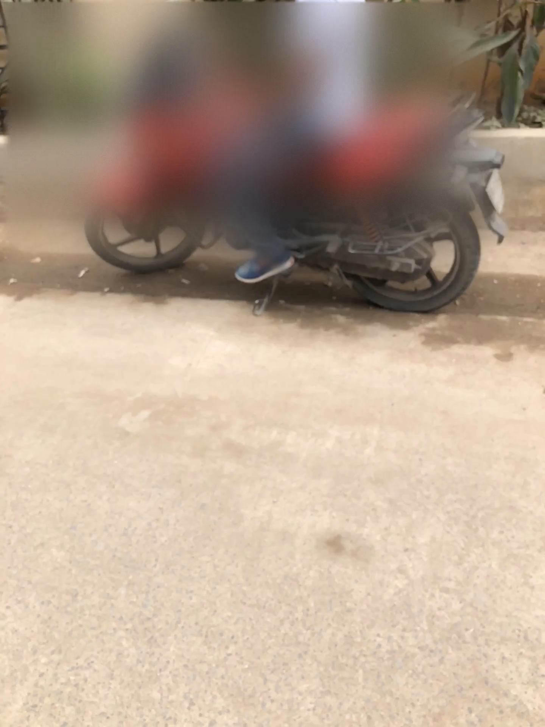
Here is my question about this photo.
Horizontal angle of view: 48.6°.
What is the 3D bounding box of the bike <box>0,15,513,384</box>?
[{"bbox_3d":[-0.050,-0.727,2.564,1.787,1.207,0.694,8,37,16],"label":"bike"}]
